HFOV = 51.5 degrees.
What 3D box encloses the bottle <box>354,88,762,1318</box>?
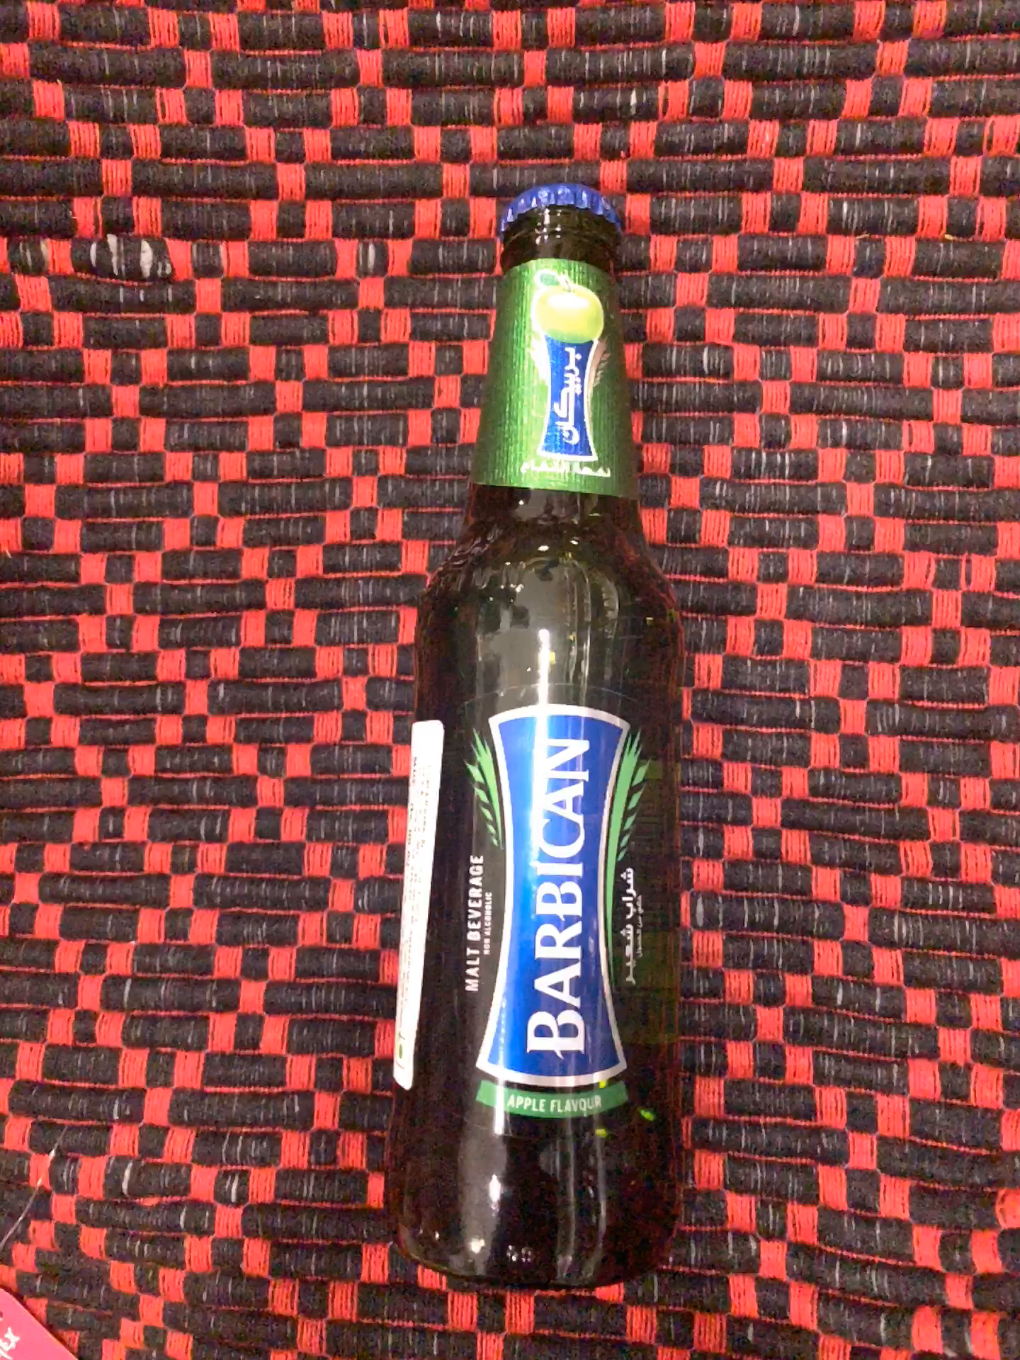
[{"bbox_3d":[0.013,-0.005,0.229,0.070,0.050,0.238,1,79,5],"label":"bottle"}]
